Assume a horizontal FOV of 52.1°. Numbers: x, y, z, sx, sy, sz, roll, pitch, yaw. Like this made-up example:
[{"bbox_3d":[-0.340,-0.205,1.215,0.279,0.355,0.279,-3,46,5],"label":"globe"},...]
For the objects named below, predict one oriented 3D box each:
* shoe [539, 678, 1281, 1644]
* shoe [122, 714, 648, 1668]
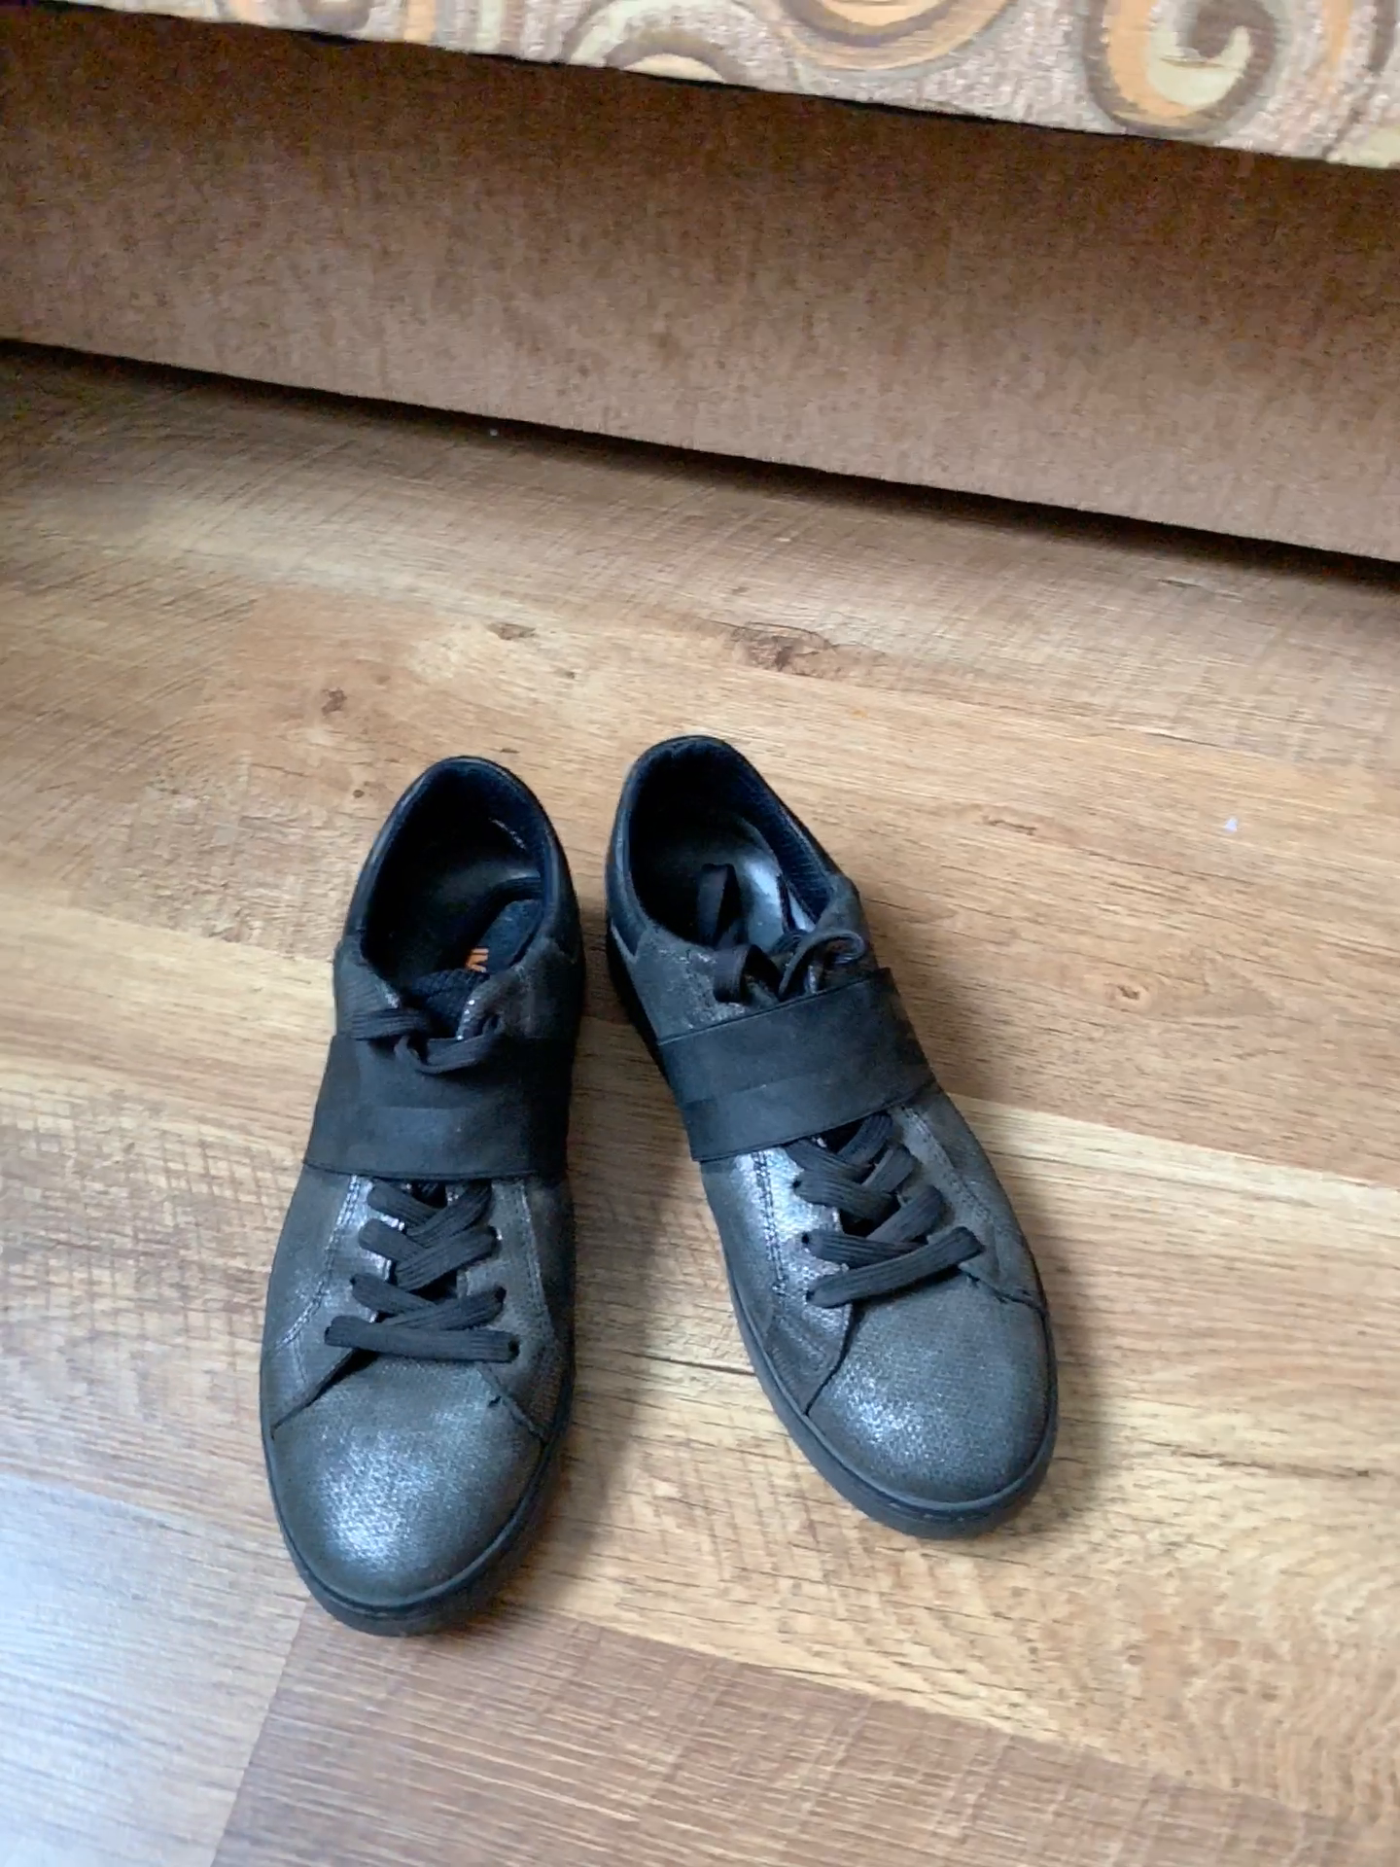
[{"bbox_3d":[0.042,0.053,0.434,0.100,0.090,0.261,-17,56,-13],"label":"shoe"},{"bbox_3d":[-0.072,0.062,0.421,0.100,0.090,0.261,2,54,0],"label":"shoe"}]
